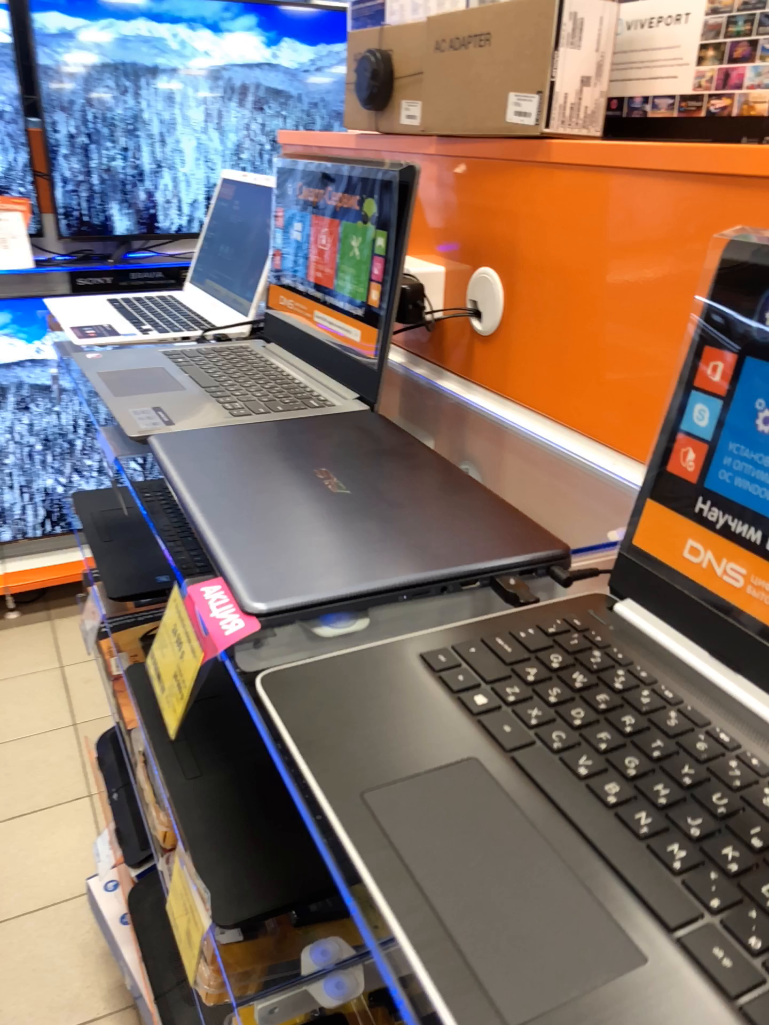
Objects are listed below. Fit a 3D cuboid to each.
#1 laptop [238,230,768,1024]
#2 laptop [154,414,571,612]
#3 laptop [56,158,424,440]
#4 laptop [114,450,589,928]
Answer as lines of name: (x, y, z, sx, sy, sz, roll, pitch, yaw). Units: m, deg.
laptop: (0.134, 0.031, 0.296, 0.271, 0.205, 0.337, -10, 27, -24)
laptop: (-0.041, -0.020, 0.646, 0.213, 0.001, 0.325, -9, 25, -22)
laptop: (-0.168, -0.257, 0.905, 0.289, 0.224, 0.354, -10, 26, -25)
laptop: (-0.060, 0.122, 0.812, 0.313, 0.227, 0.378, -9, 25, -23)
